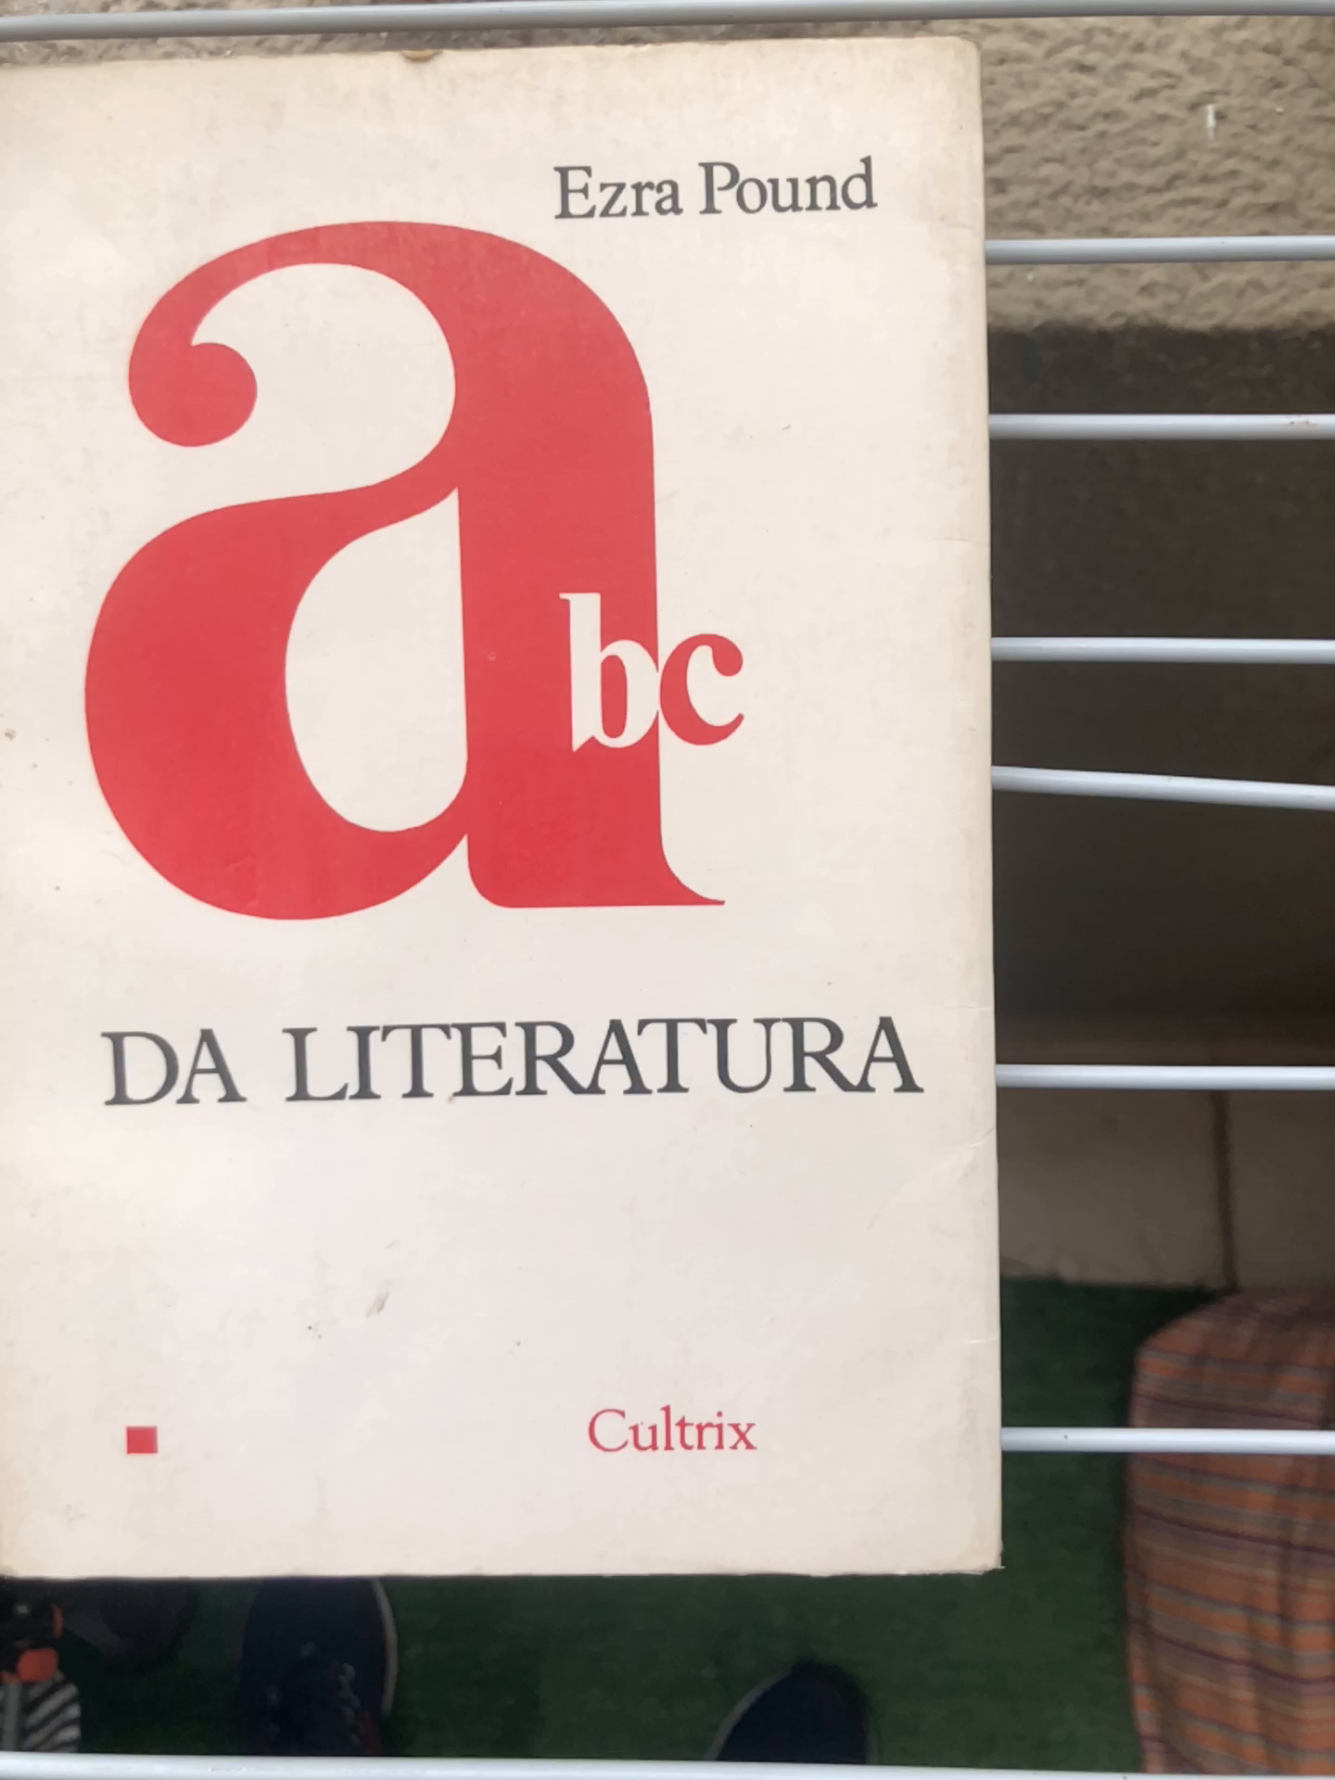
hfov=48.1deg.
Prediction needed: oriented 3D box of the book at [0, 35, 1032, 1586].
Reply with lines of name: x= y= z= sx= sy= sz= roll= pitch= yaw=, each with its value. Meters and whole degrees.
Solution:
book: x=-0.026 y=-0.006 z=0.192 sx=0.140 sy=0.017 sz=0.187 roll=-1 pitch=94 yaw=2
